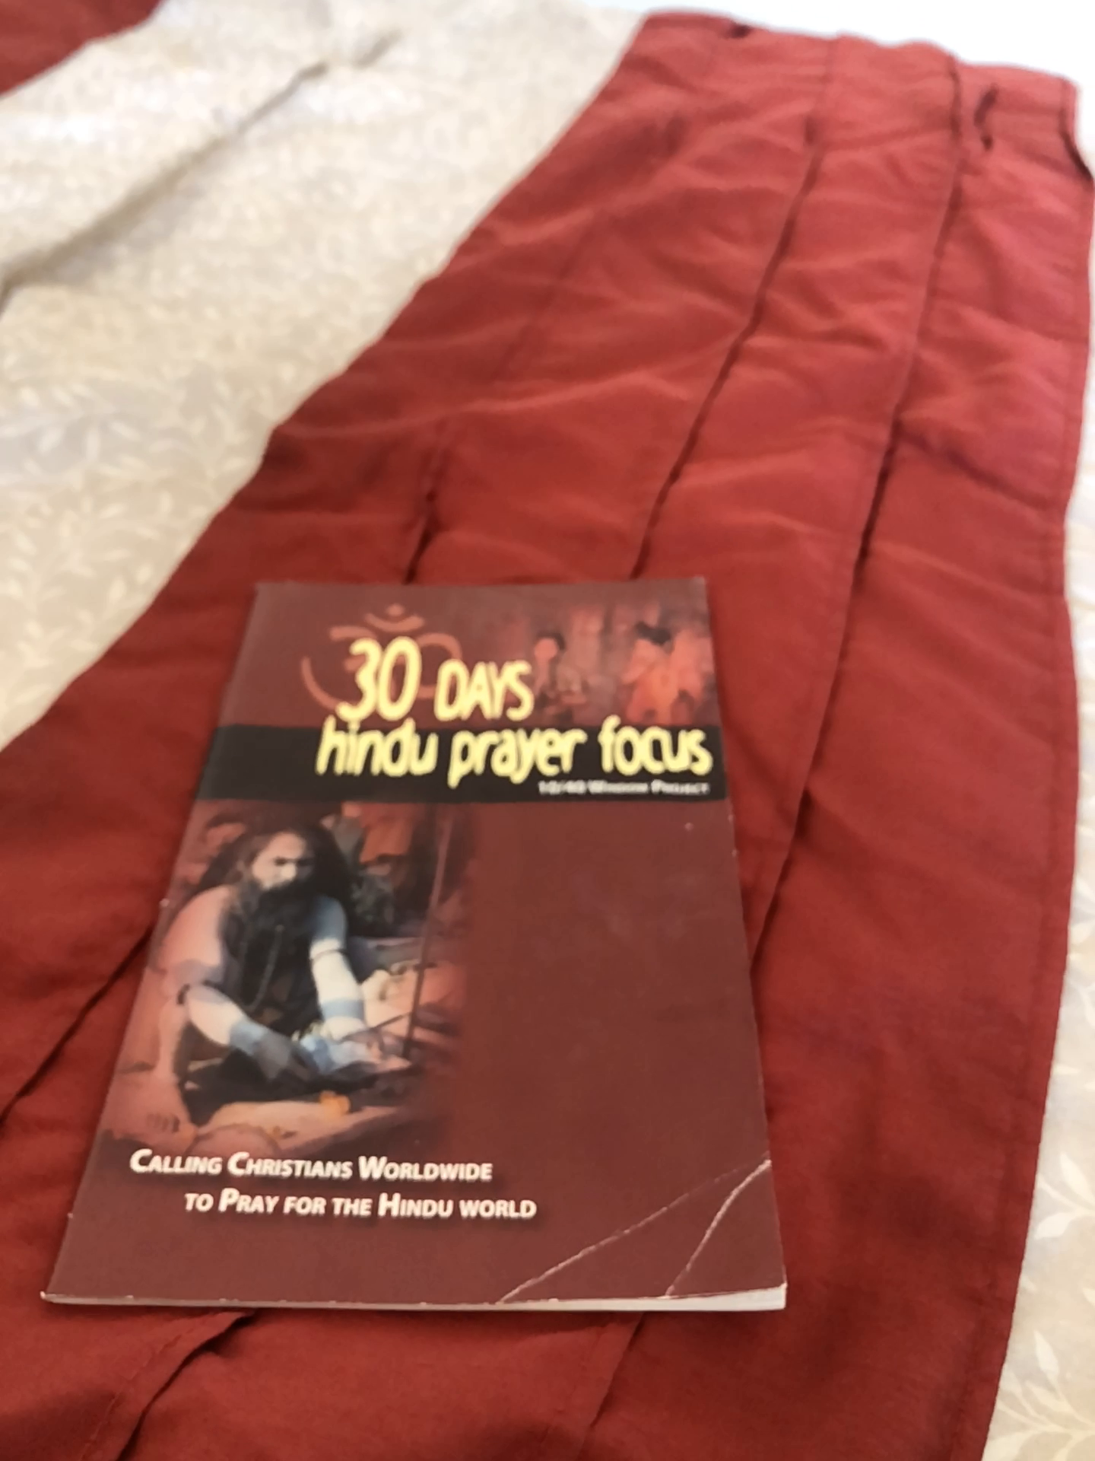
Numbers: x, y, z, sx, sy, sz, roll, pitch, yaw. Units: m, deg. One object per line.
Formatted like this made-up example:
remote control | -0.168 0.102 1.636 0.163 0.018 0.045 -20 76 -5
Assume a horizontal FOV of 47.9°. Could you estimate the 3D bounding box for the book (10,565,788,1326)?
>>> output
book | -0.025 0.031 0.301 0.141 0.010 0.211 1 46 0
